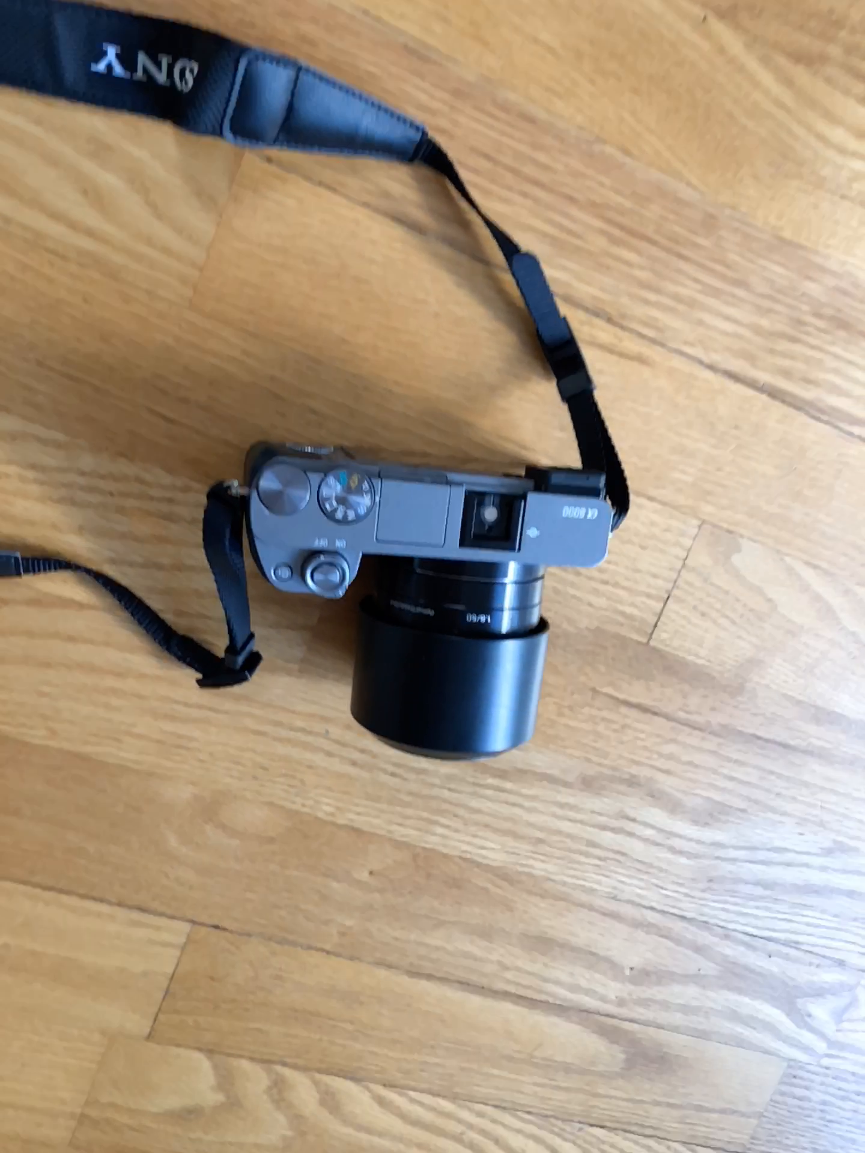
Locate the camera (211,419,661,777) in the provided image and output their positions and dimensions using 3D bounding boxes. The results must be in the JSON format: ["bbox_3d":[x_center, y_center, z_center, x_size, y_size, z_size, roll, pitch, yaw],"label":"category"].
[{"bbox_3d":[-0.004,0.008,0.342,0.140,0.060,0.110,3,103,-14],"label":"camera"}]
